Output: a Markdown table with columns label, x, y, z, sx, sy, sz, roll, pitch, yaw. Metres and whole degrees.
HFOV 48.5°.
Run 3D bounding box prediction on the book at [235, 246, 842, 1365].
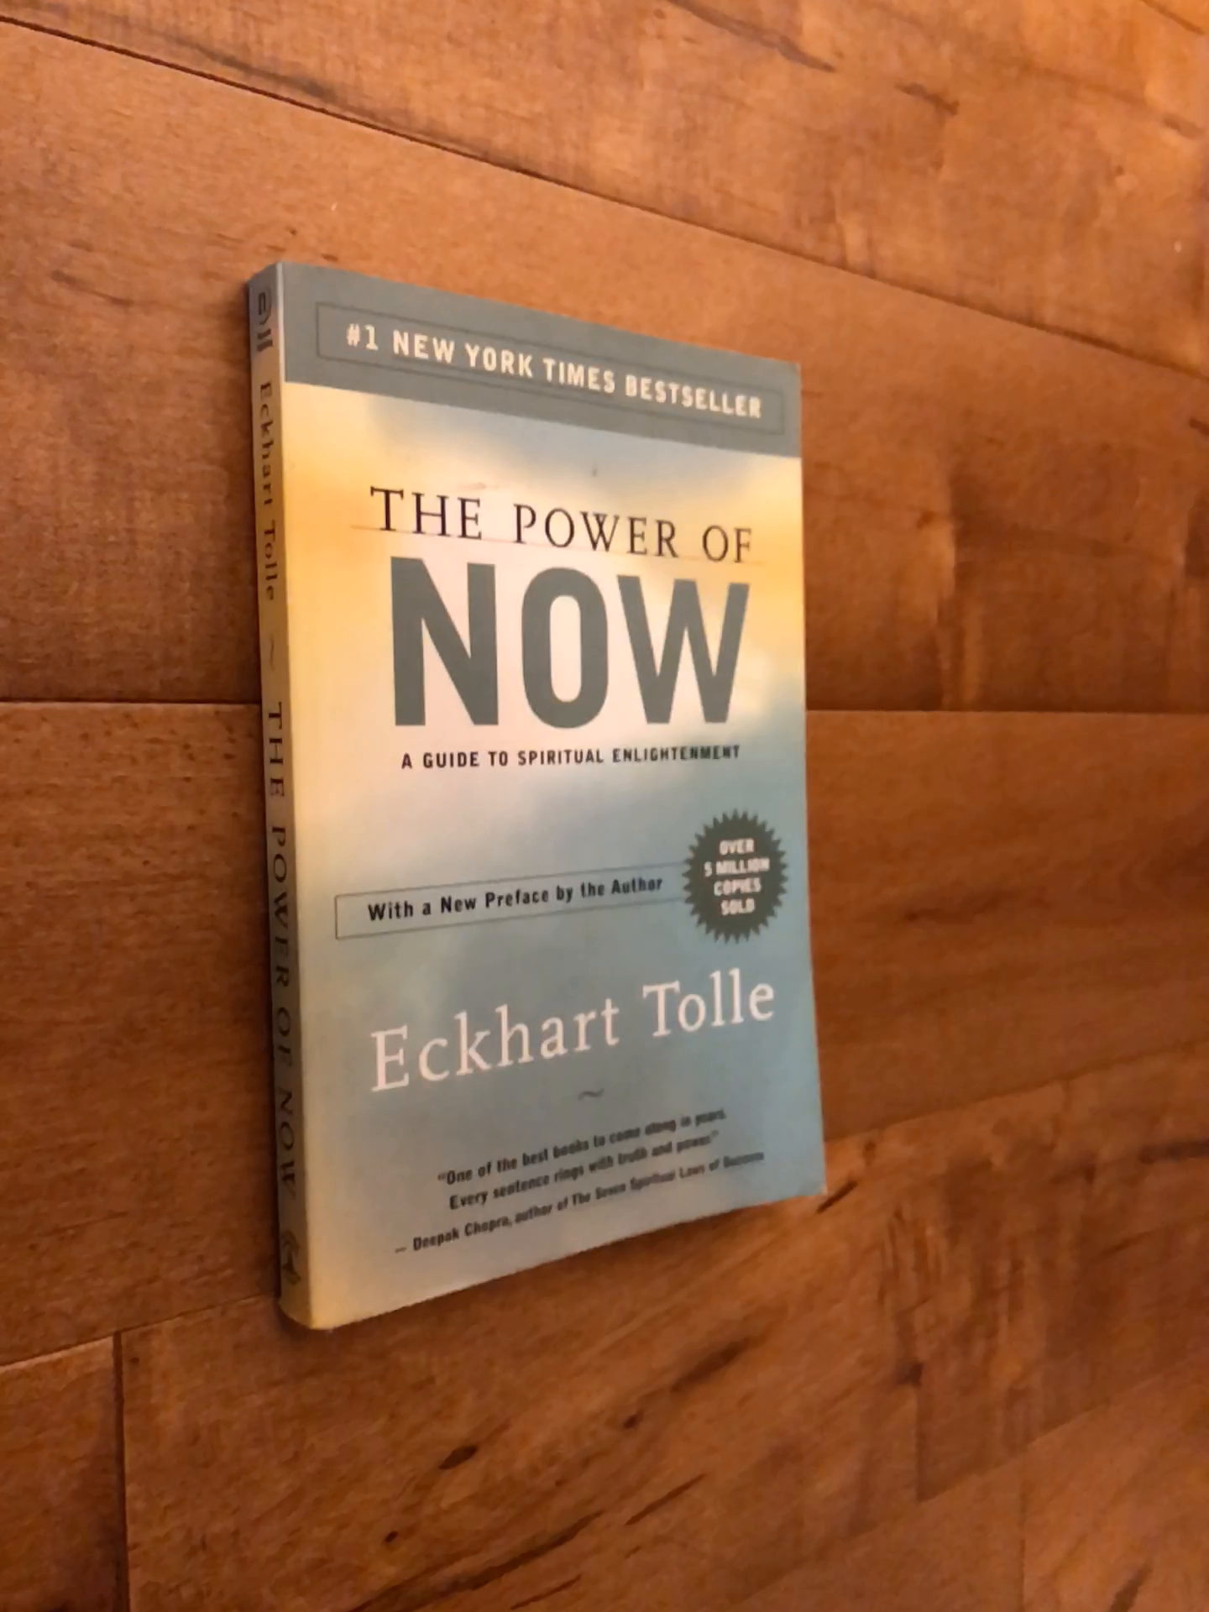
| label | x | y | z | sx | sy | sz | roll | pitch | yaw |
| --- | --- | --- | --- | --- | --- | --- | --- | --- | --- |
| book | -0.007 | -0.002 | 0.322 | 0.147 | 0.030 | 0.222 | -4 | 93 | -37 |
